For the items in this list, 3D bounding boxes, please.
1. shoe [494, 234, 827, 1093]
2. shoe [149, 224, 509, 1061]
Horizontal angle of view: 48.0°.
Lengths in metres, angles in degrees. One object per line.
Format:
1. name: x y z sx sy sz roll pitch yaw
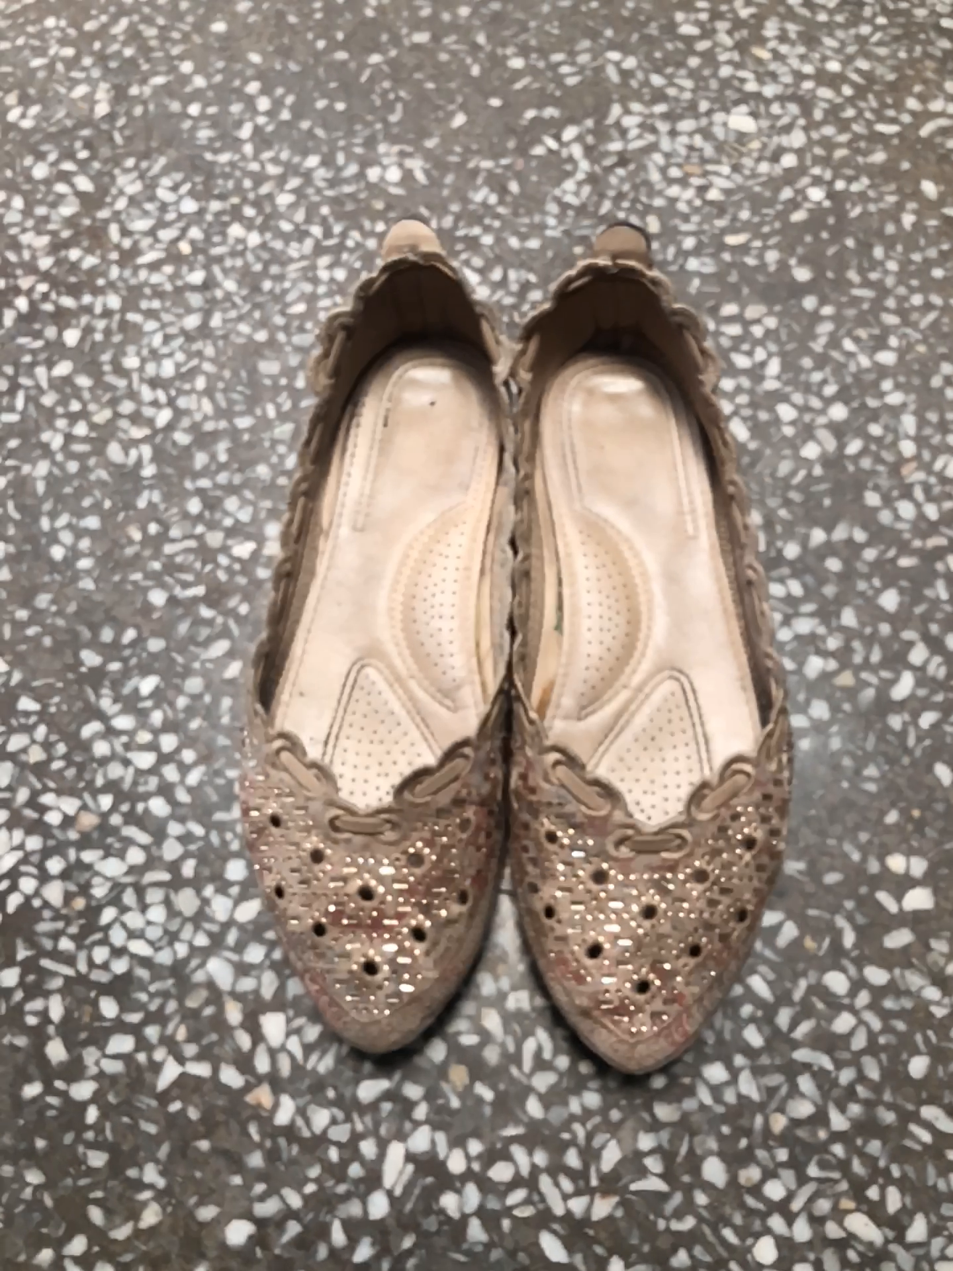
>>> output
1. shoe: 0.055 -0.002 0.348 0.090 0.040 0.270 2 74 2
2. shoe: -0.038 -0.010 0.358 0.090 0.040 0.280 2 70 2
